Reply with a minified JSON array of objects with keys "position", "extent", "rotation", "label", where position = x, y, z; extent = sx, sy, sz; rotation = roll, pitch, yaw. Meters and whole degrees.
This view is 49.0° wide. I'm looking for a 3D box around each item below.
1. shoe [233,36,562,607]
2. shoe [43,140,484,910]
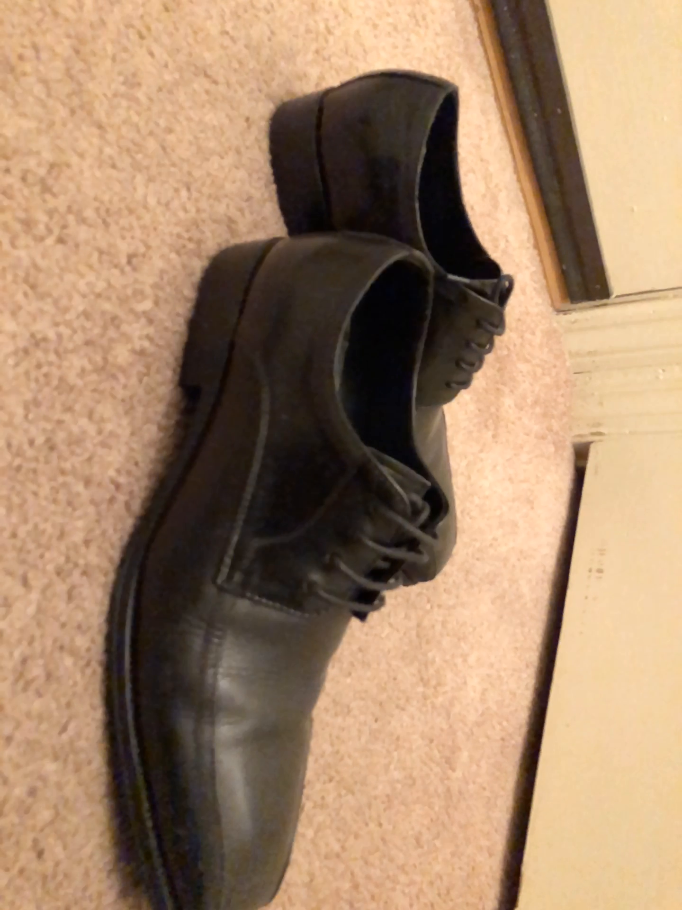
[{"position":[0.048,-0.071,0.458],"extent":[0.116,0.110,0.297],"rotation":[-37,119,-55],"label":"shoe"},{"position":[-0.017,0.037,0.315],"extent":[0.111,0.107,0.283],"rotation":[26,65,-56],"label":"shoe"}]
